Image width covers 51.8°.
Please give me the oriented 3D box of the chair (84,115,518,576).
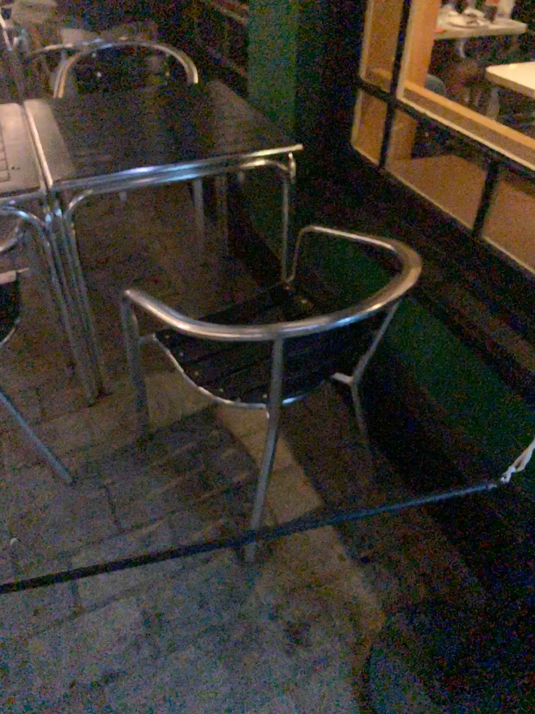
[{"bbox_3d":[0.046,-0.068,1.425,0.662,0.782,0.655,-25,47,-27],"label":"chair"}]
